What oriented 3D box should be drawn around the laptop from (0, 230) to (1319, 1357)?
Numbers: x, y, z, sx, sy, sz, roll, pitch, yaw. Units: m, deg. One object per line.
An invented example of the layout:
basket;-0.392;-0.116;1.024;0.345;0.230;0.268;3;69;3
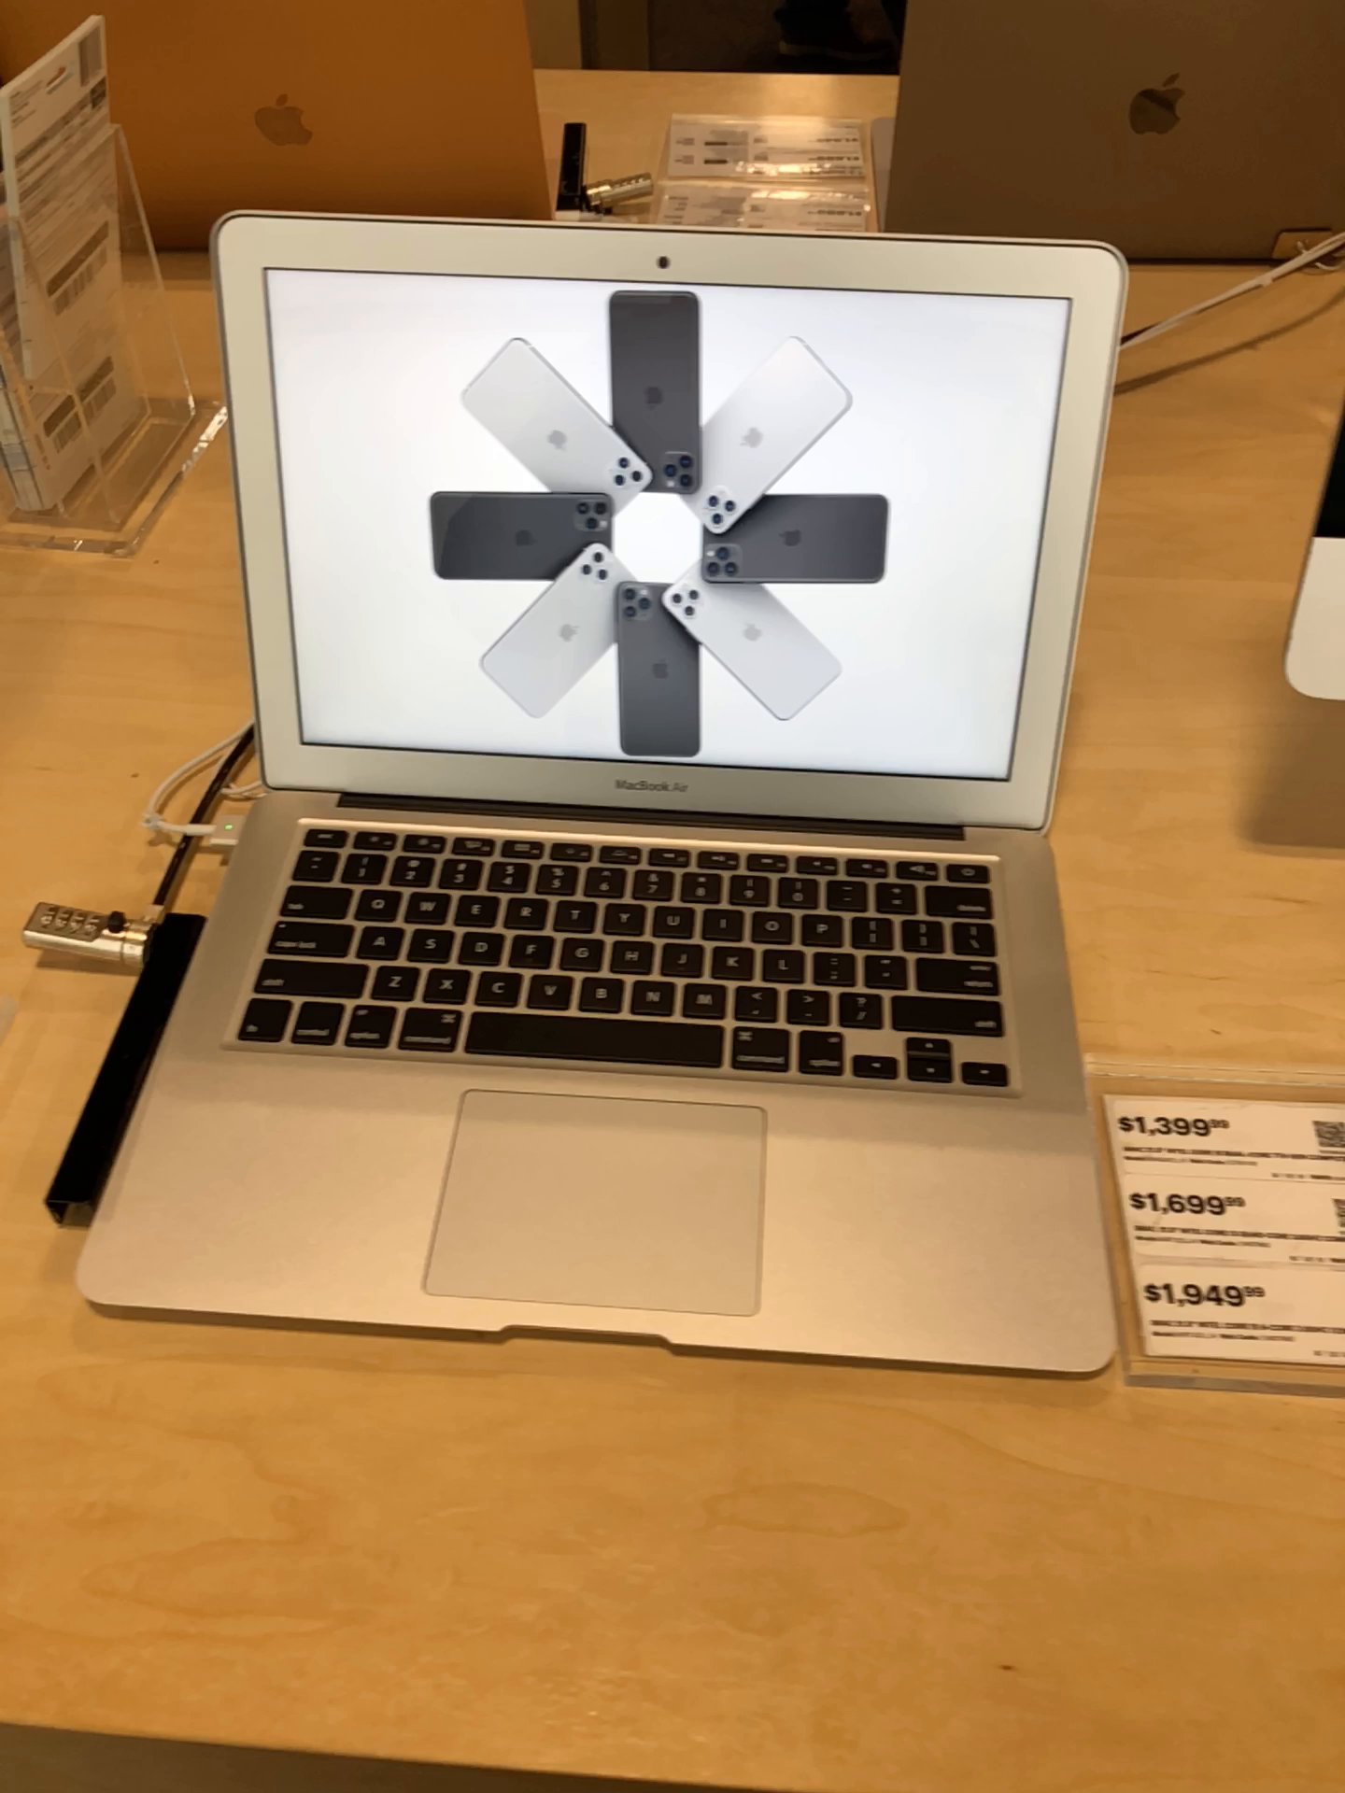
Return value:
laptop;-0.015;-0.052;0.488;0.324;0.202;0.311;3;47;5
